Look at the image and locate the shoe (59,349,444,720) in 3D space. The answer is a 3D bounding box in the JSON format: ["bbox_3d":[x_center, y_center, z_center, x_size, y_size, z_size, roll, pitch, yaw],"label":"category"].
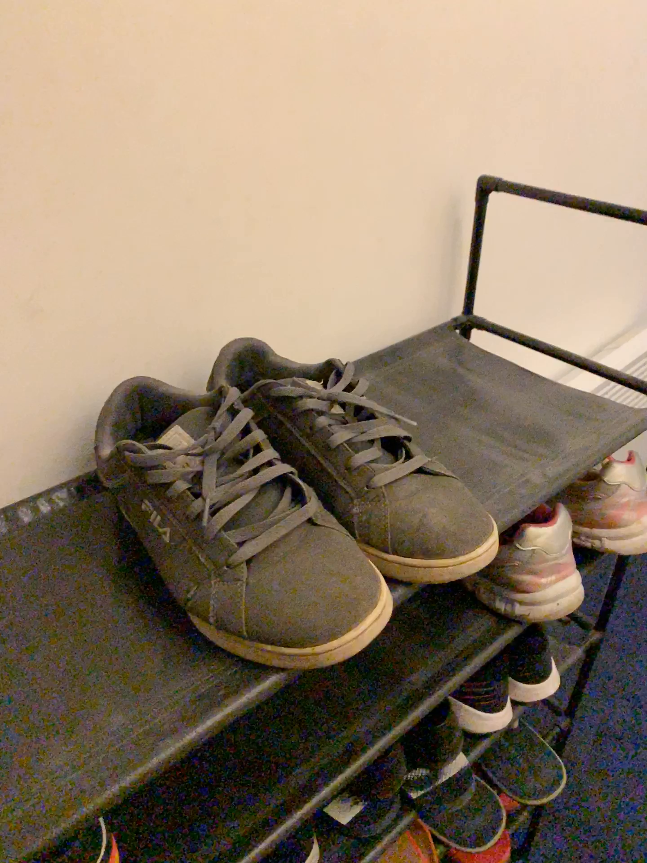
[{"bbox_3d":[-0.062,0.043,0.455,0.121,0.079,0.271,-27,40,-30],"label":"shoe"}]

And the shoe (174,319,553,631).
[{"bbox_3d":[0.013,0.009,0.532,0.121,0.079,0.302,-27,40,-30],"label":"shoe"}]
